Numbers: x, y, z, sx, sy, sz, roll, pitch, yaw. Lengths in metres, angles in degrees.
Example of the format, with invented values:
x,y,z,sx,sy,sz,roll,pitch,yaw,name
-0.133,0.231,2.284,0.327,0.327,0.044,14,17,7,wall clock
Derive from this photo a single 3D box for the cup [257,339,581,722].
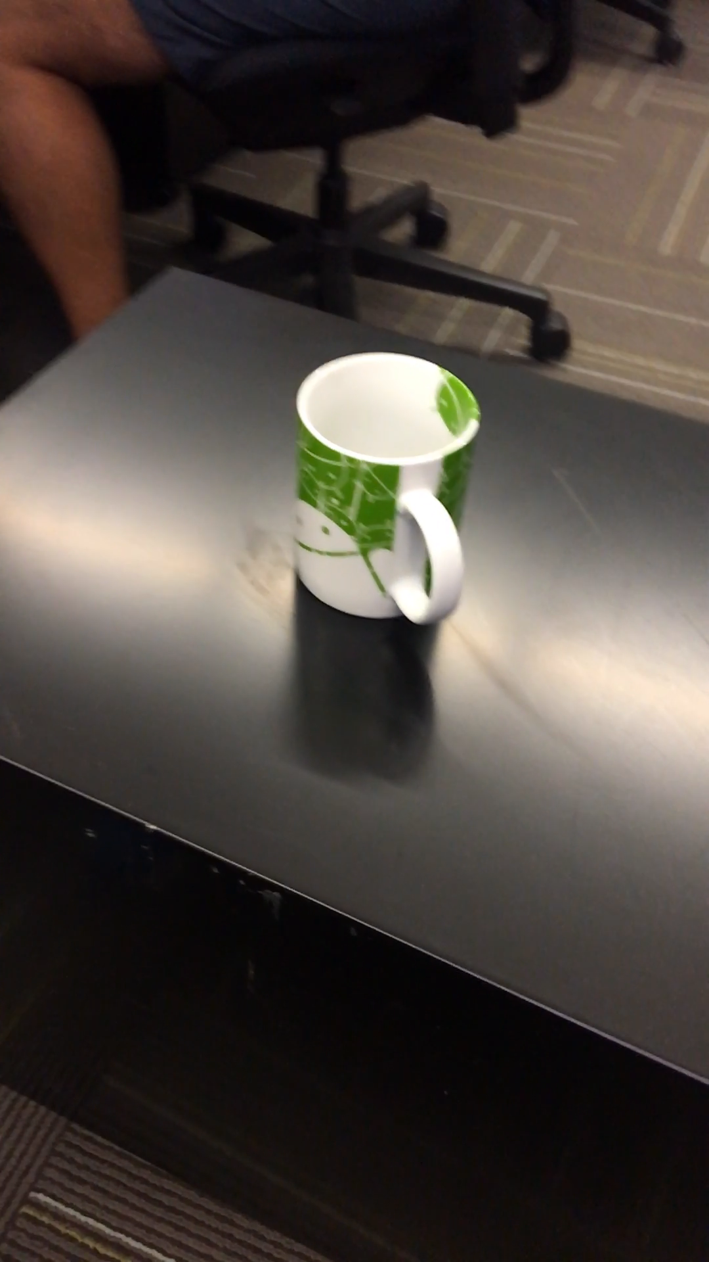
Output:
x,y,z,sx,sy,sz,roll,pitch,yaw,name
0.022,-0.050,0.500,0.090,0.110,0.120,-22,52,-24,cup
